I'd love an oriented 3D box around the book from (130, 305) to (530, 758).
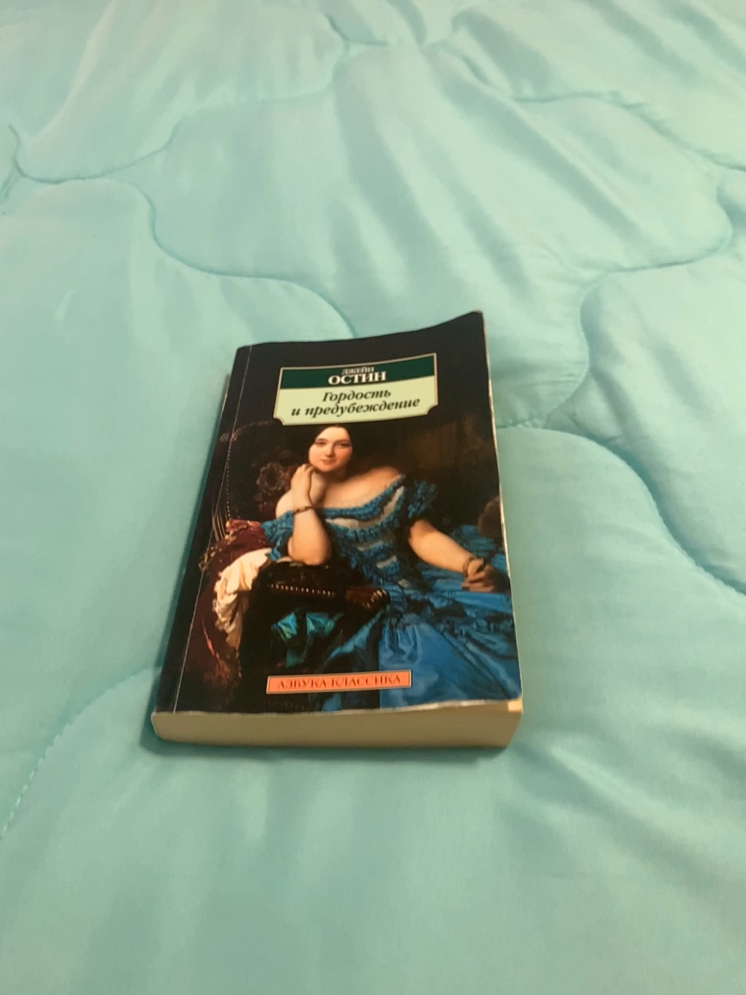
[{"bbox_3d":[-0.009,0.001,0.285,0.110,0.044,0.174,2,49,1],"label":"book"}]
